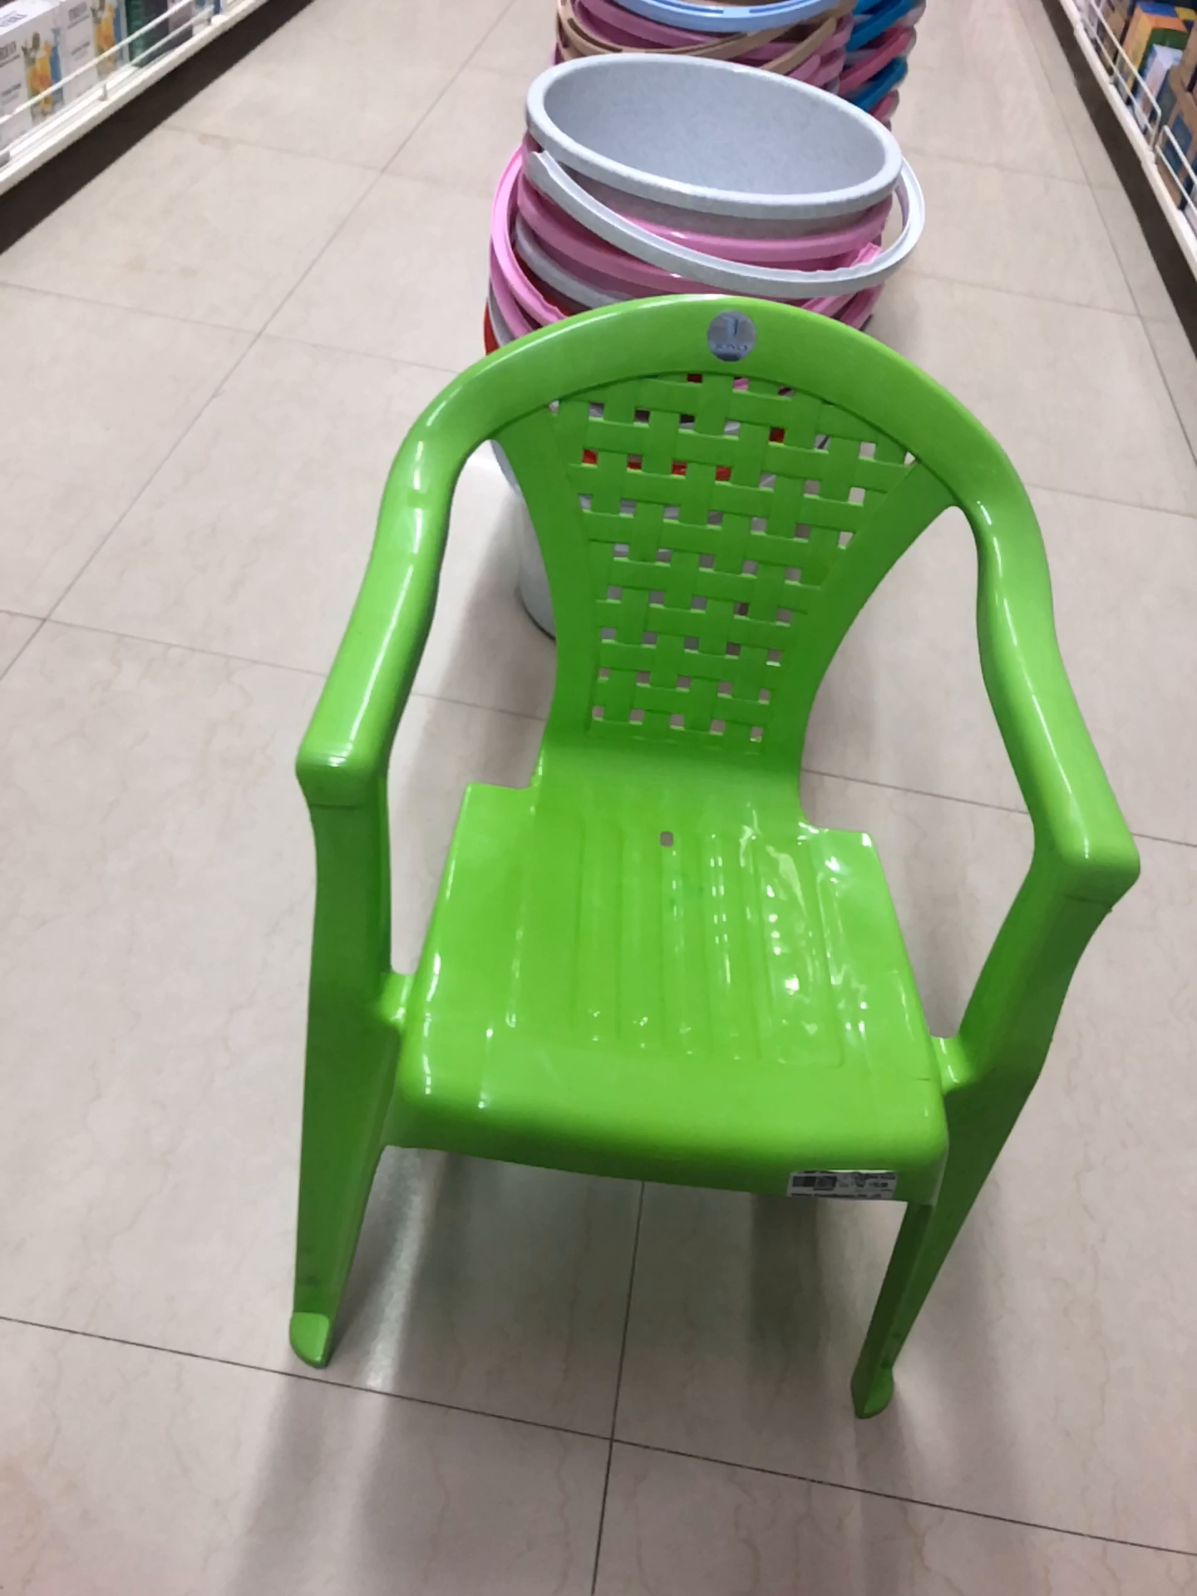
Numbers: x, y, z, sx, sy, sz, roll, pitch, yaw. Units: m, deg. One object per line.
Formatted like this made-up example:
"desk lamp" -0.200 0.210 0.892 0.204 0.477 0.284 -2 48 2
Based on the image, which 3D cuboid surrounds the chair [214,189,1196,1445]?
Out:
"chair" 0.047 0.046 0.662 0.360 0.517 0.312 8 44 -3
